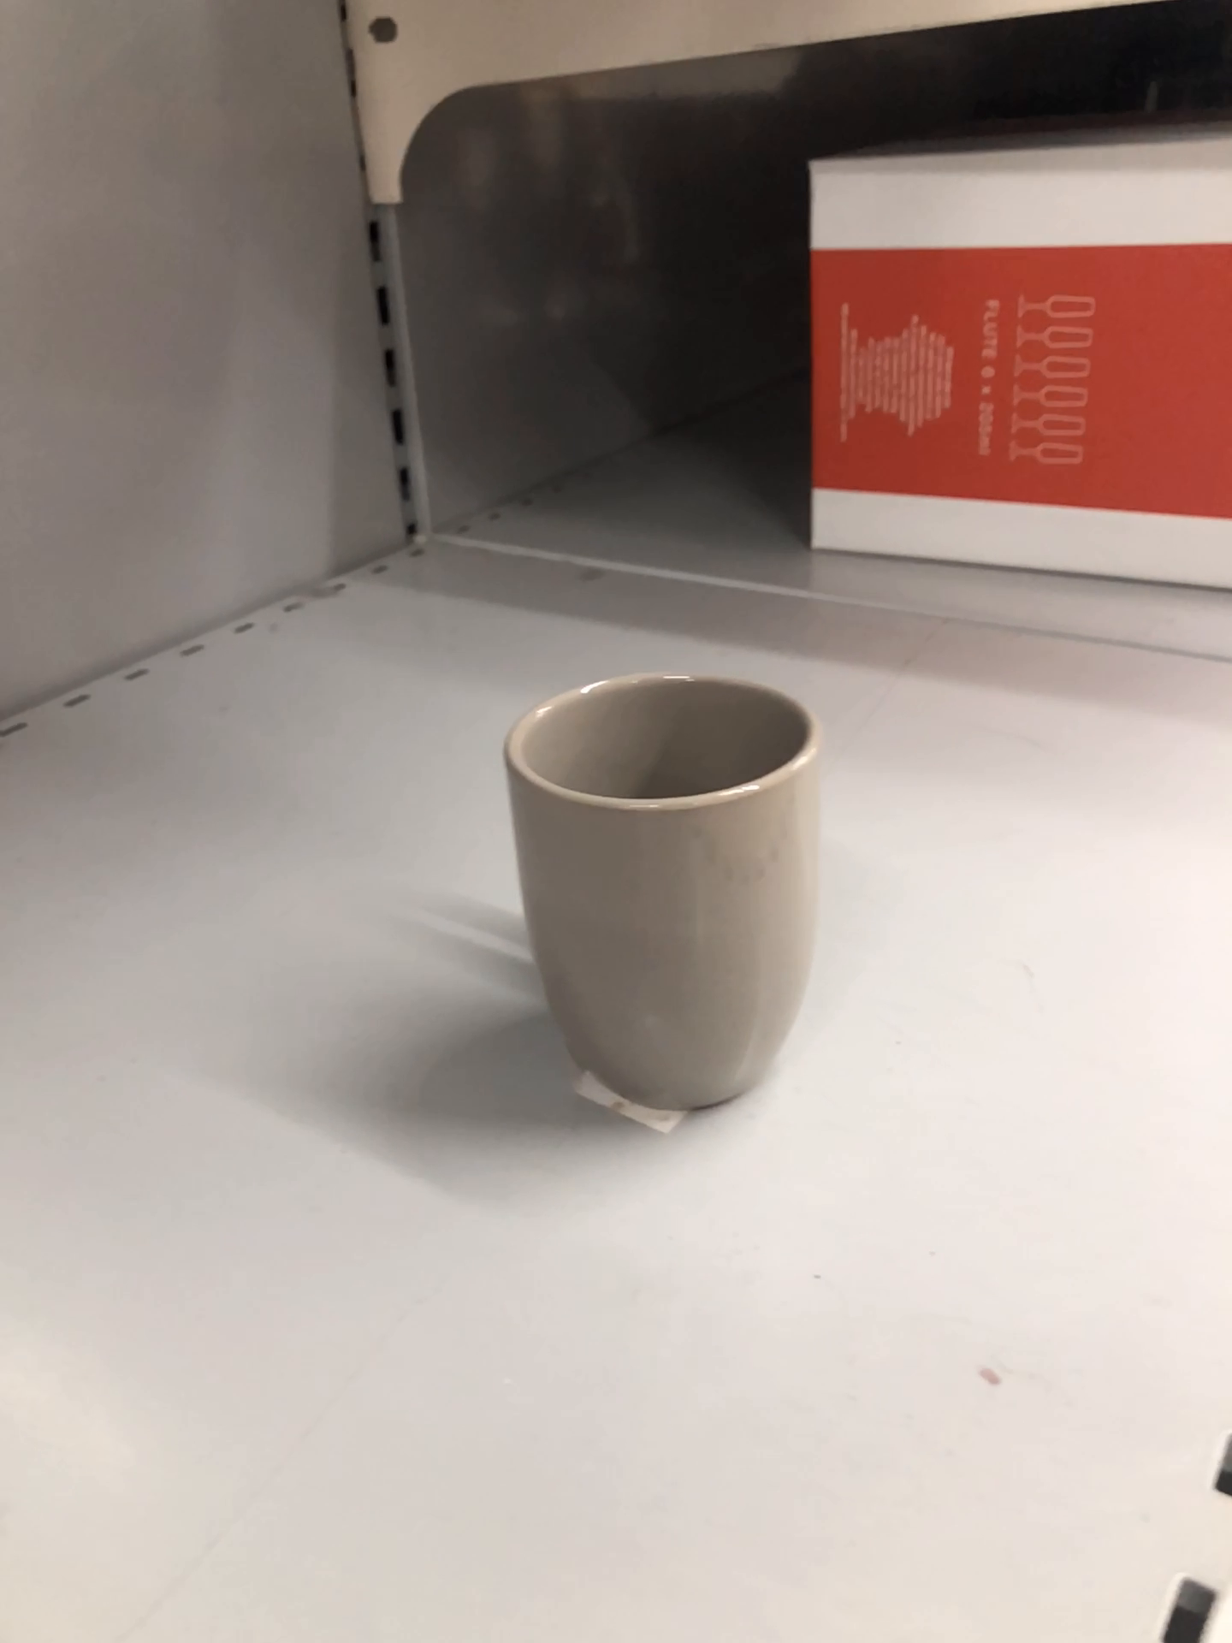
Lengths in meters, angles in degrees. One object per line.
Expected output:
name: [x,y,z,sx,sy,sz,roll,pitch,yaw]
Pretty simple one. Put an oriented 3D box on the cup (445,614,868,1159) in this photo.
cup: [0.004,0.007,0.270,0.064,0.062,0.092,-7,29,-6]
